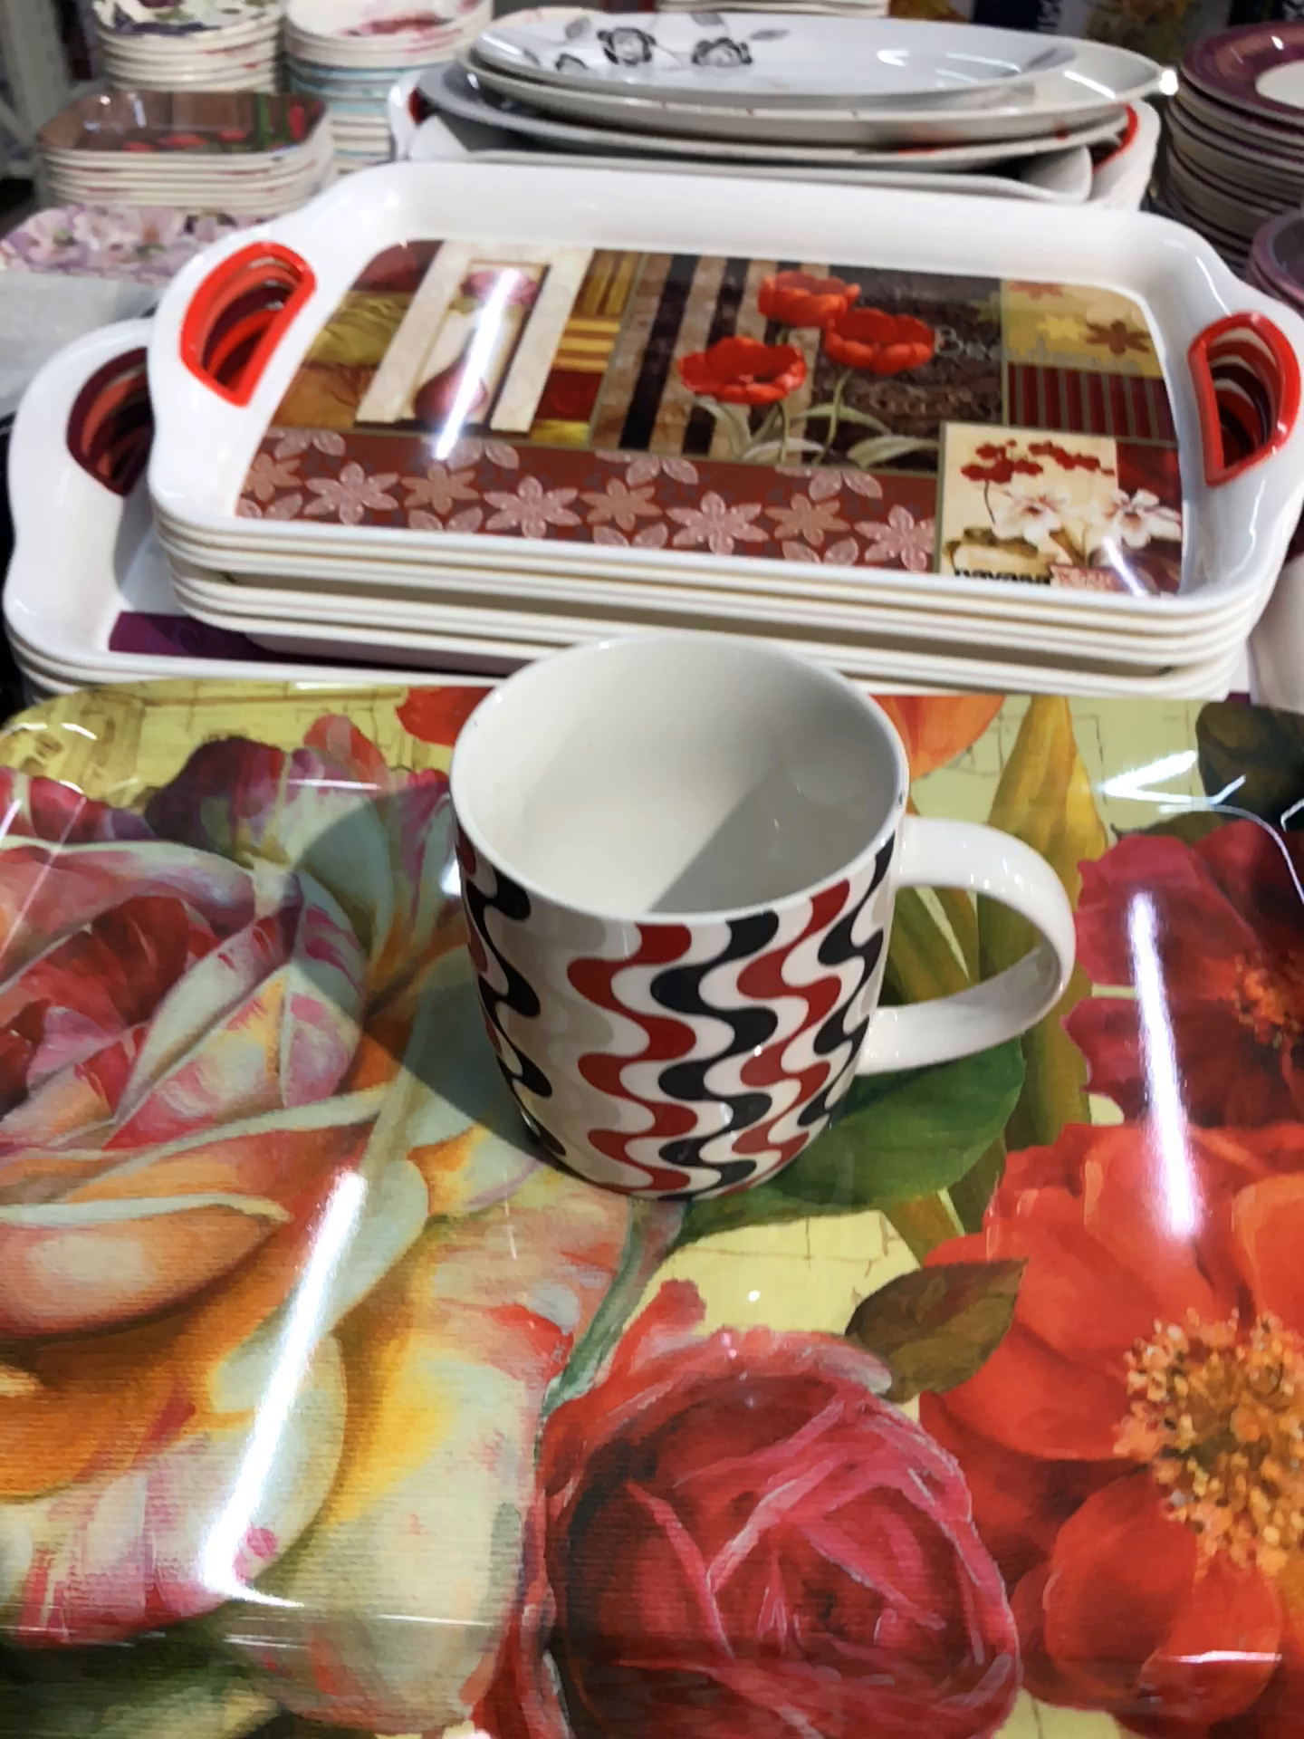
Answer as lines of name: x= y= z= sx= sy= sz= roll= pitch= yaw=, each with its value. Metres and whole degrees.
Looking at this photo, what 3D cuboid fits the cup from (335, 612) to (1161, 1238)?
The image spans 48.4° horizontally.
cup: x=0.016 y=0.009 z=0.288 sx=0.130 sy=0.079 sz=0.091 roll=2 pitch=40 yaw=0
